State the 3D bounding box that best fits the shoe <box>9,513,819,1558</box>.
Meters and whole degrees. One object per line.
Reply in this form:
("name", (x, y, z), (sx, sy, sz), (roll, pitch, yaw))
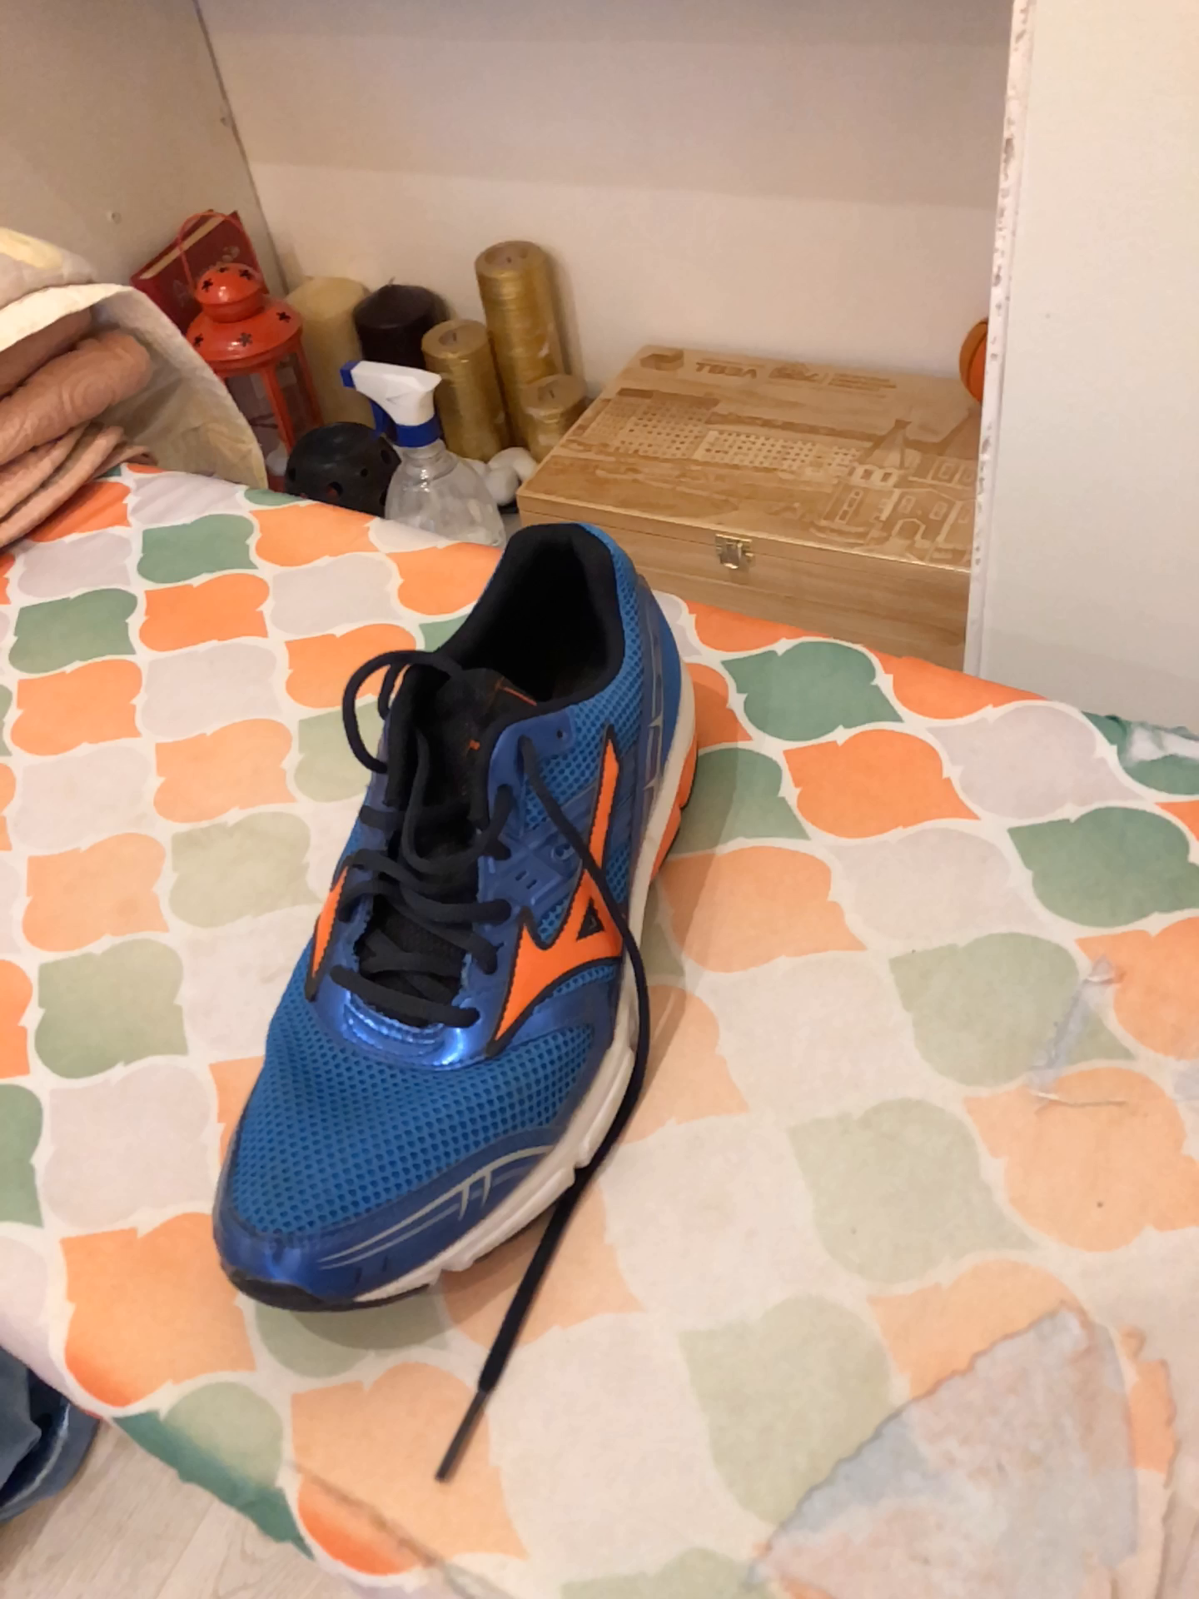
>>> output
("shoe", (-0.026, 0.048, 0.432), (0.120, 0.109, 0.312), (10, 50, 20))
